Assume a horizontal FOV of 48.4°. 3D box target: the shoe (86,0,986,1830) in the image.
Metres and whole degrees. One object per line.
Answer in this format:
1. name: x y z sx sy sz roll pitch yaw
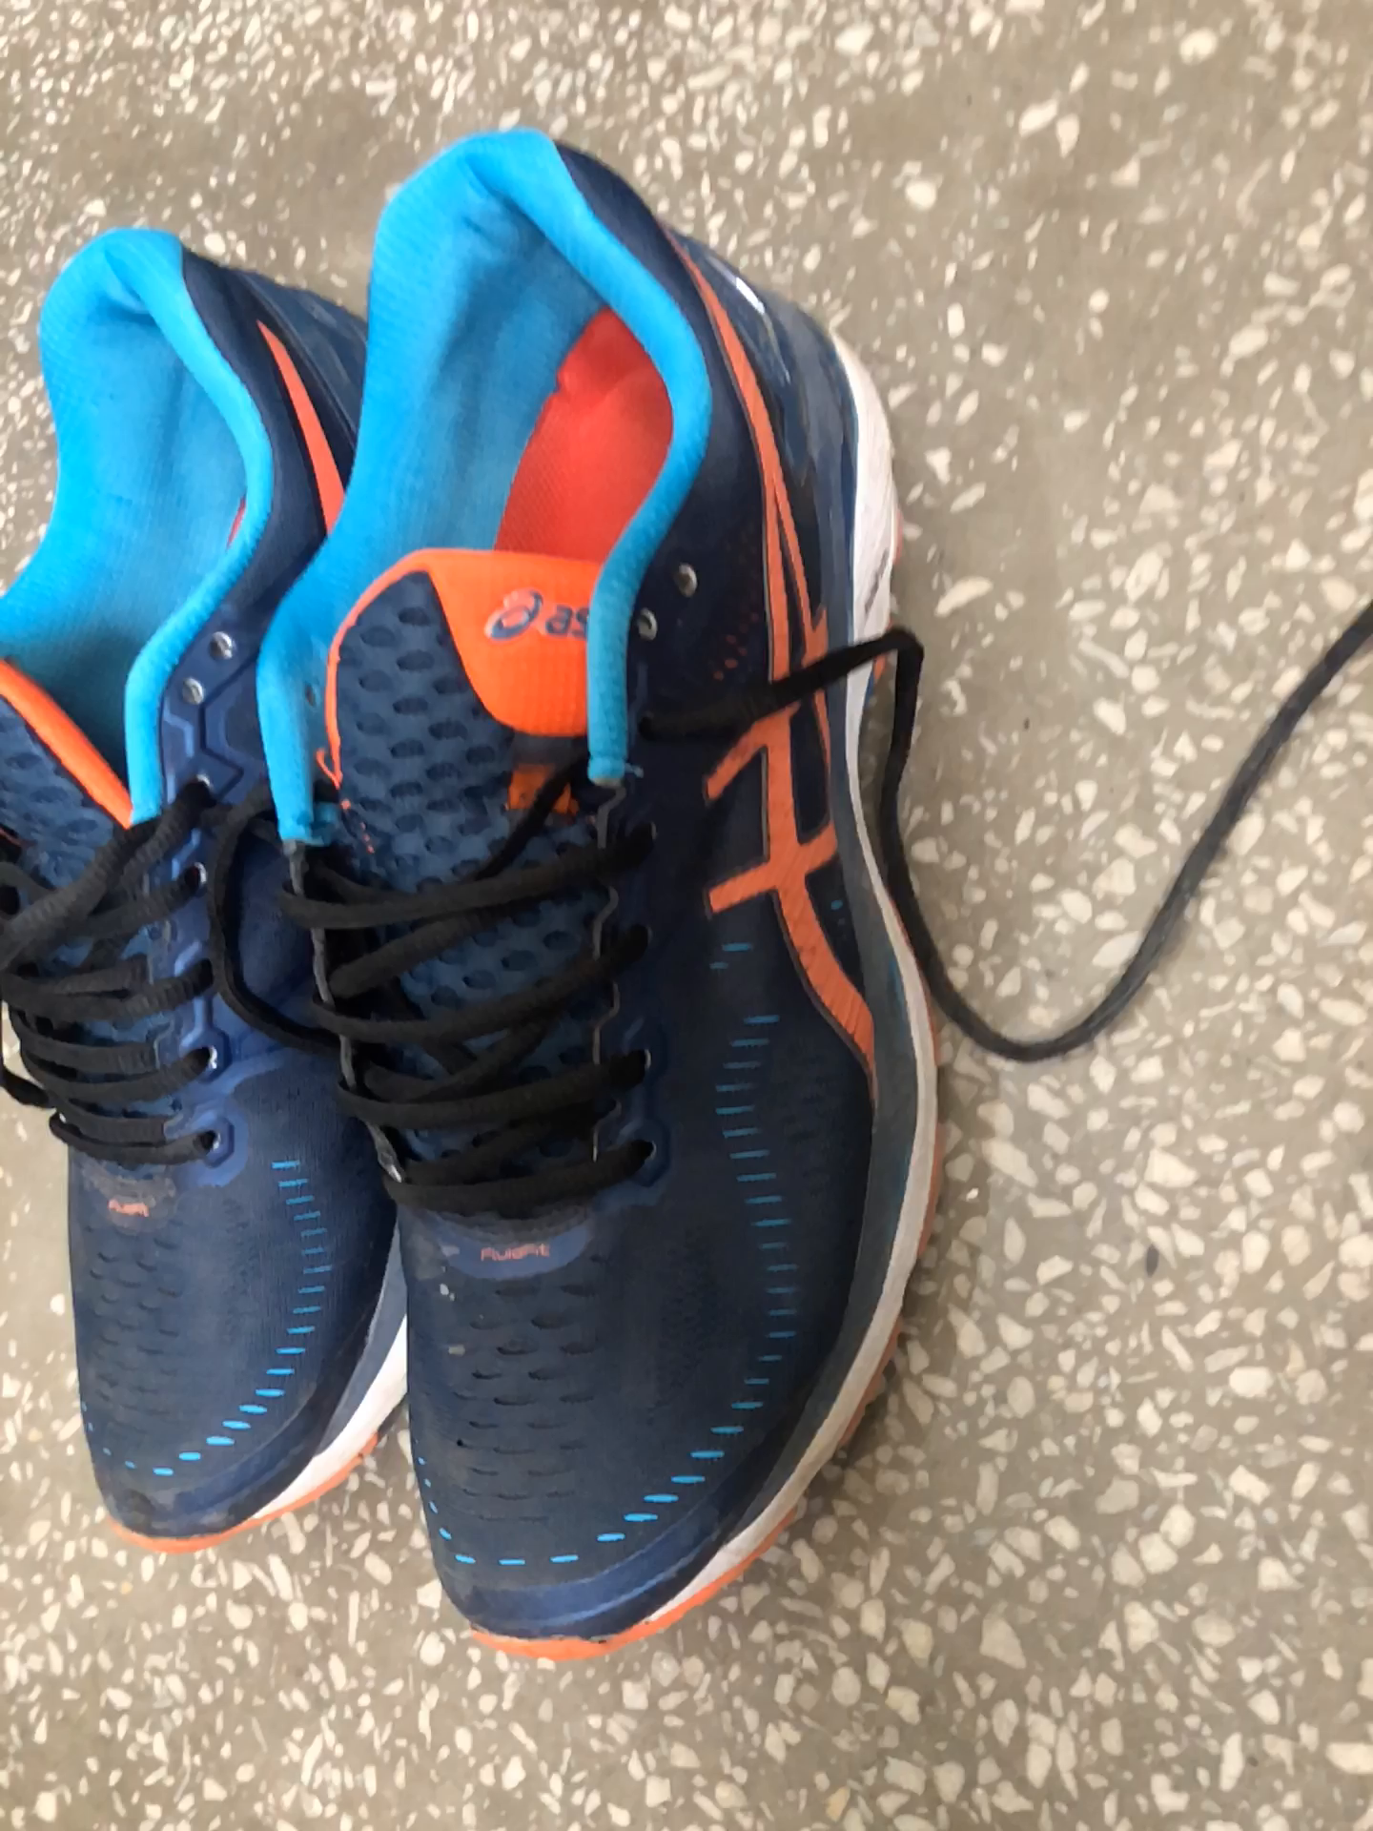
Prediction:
1. shoe: -0.016 -0.004 0.292 0.118 0.100 0.288 -4 77 28

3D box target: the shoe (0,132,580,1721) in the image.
1. shoe: -0.112 0.000 0.343 0.118 0.100 0.288 -2 78 28
